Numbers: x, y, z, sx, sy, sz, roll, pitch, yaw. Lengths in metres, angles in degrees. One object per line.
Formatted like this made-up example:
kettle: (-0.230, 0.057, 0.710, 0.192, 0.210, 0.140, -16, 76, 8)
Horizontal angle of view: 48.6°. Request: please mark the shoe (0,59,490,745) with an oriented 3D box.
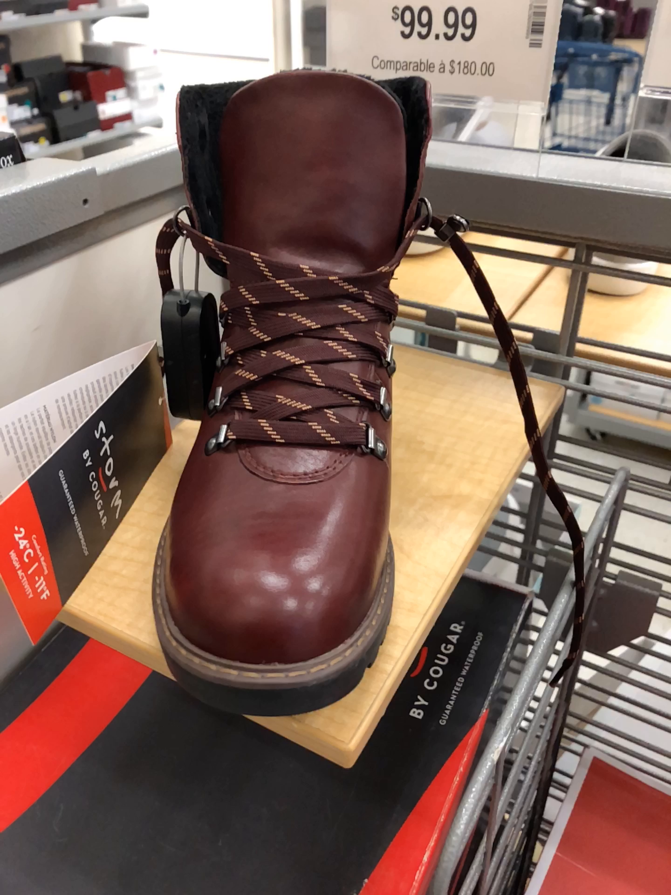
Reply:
shoe: (-0.016, -0.041, 0.291, 0.107, 0.169, 0.232, 2, 34, 3)
